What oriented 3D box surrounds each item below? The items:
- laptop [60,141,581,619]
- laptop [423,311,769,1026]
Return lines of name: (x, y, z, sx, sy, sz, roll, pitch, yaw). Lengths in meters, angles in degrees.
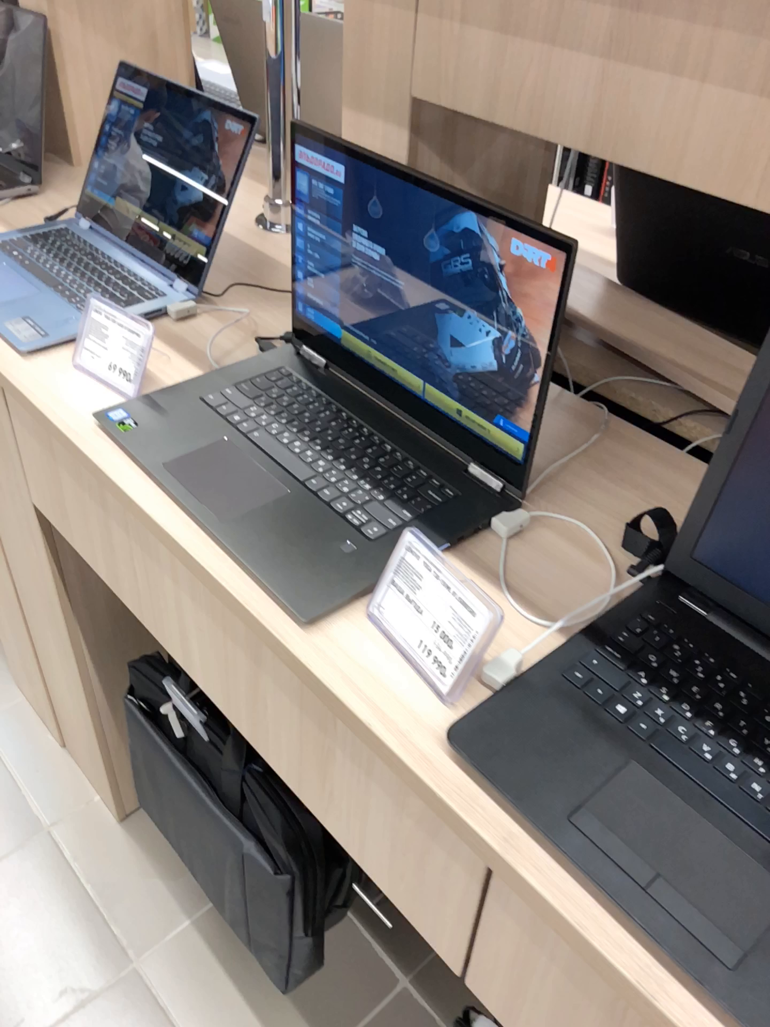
laptop: (-0.073, -0.147, 0.755, 0.252, 0.240, 0.359, -25, 45, -31)
laptop: (0.259, 0.061, 0.471, 0.308, 0.238, 0.306, -18, 39, -29)
